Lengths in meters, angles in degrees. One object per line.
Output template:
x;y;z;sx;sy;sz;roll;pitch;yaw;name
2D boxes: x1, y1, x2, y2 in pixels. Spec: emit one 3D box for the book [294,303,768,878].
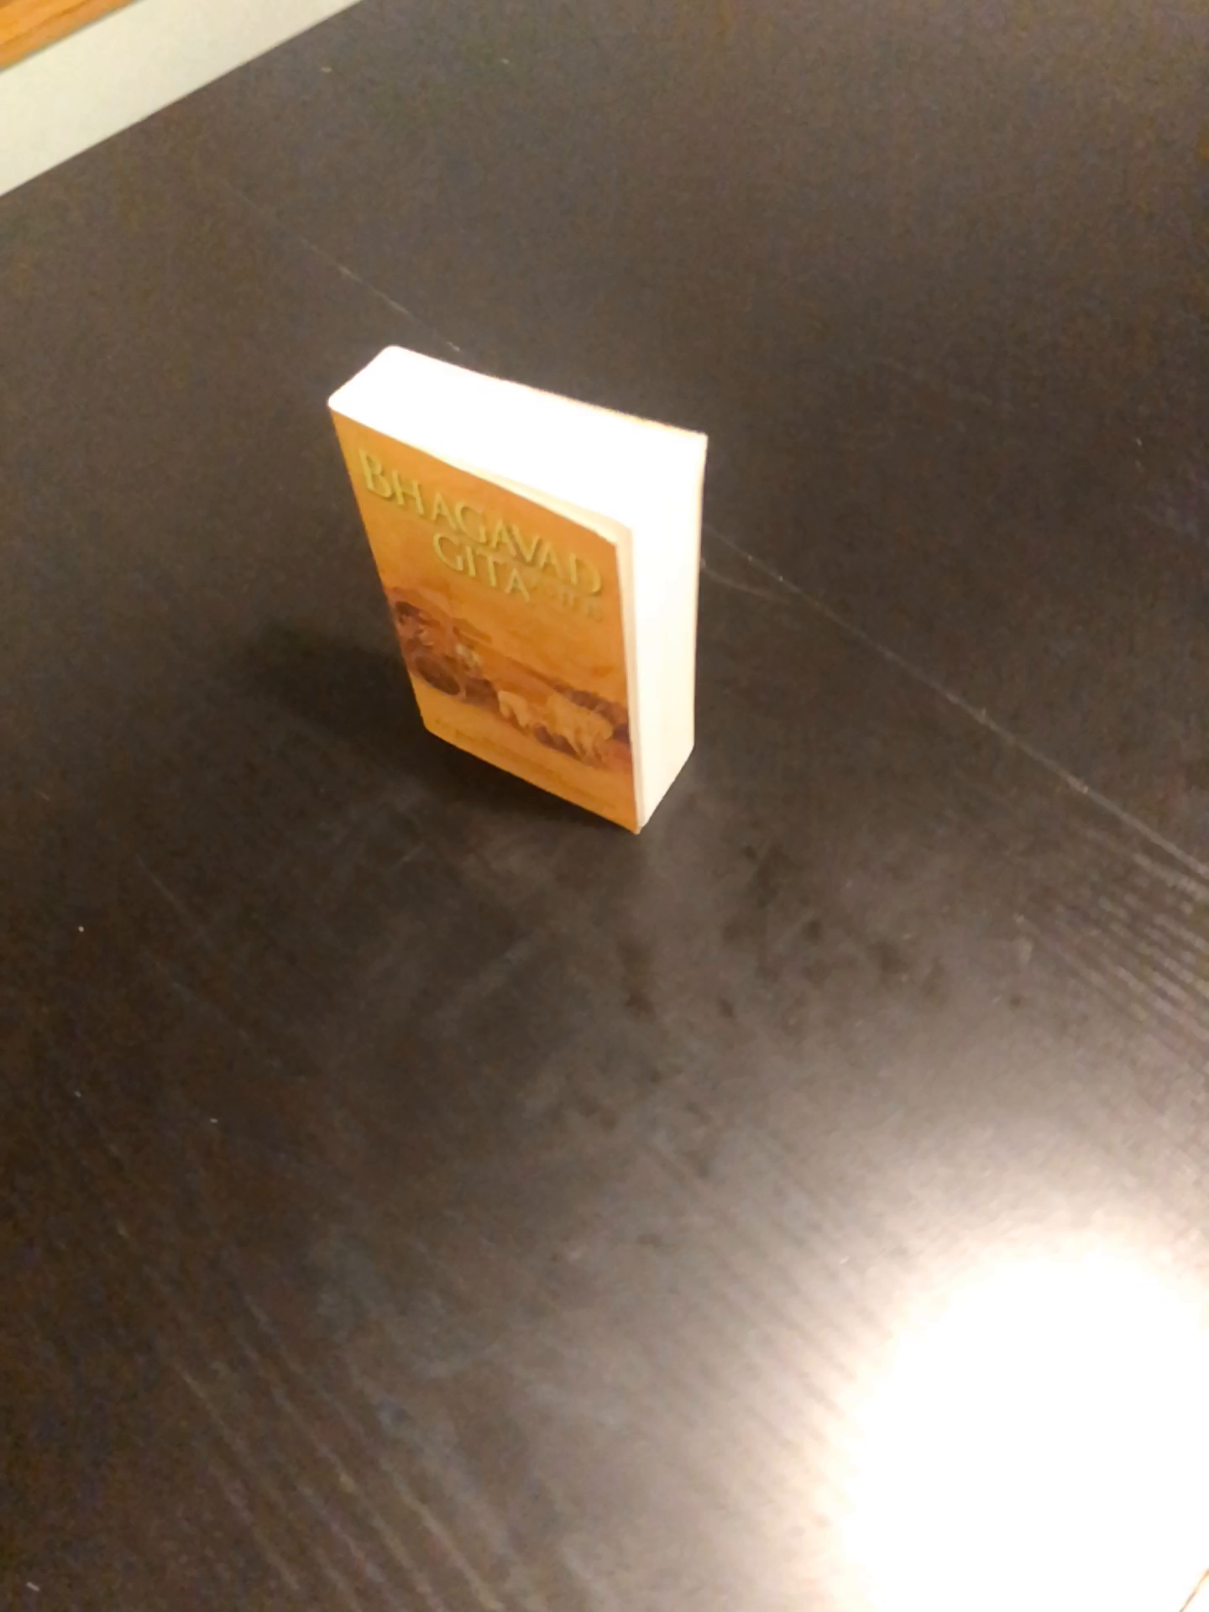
-0.018;-0.065;0.461;0.126;0.174;0.059;26;65;18;book
